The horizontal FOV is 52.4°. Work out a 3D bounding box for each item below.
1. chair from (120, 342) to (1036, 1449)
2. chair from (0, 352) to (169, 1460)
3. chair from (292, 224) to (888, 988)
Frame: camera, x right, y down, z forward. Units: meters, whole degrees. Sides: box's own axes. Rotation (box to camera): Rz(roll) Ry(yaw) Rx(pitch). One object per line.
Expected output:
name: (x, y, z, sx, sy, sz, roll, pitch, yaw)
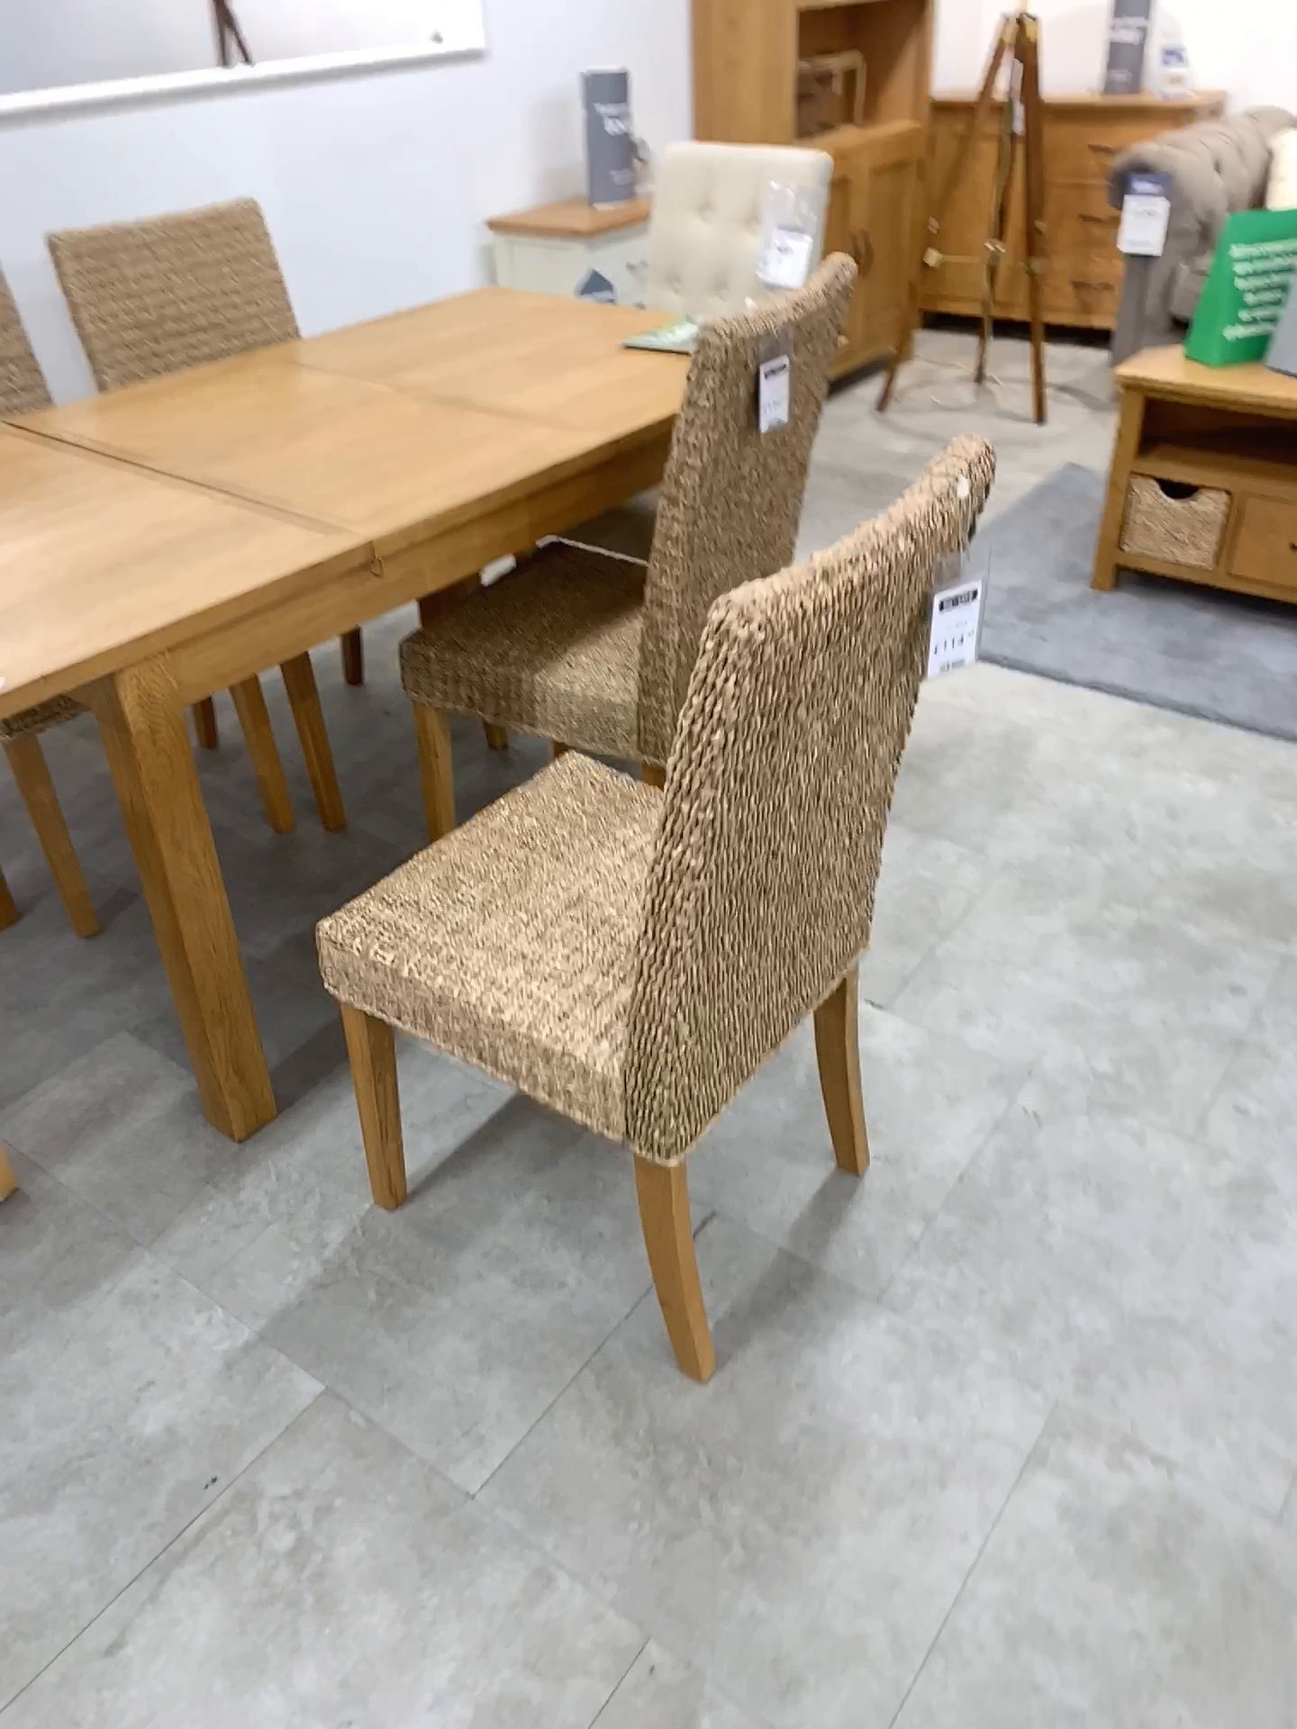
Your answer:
chair: (-0.037, 0.001, 1.336, 0.576, 0.840, 0.507, 22, 41, 31)
chair: (-0.997, 0.016, 1.297, 0.726, 0.840, 0.428, 15, 38, 23)
chair: (-0.043, -0.392, 1.914, 0.566, 0.870, 0.528, 16, 39, 25)
